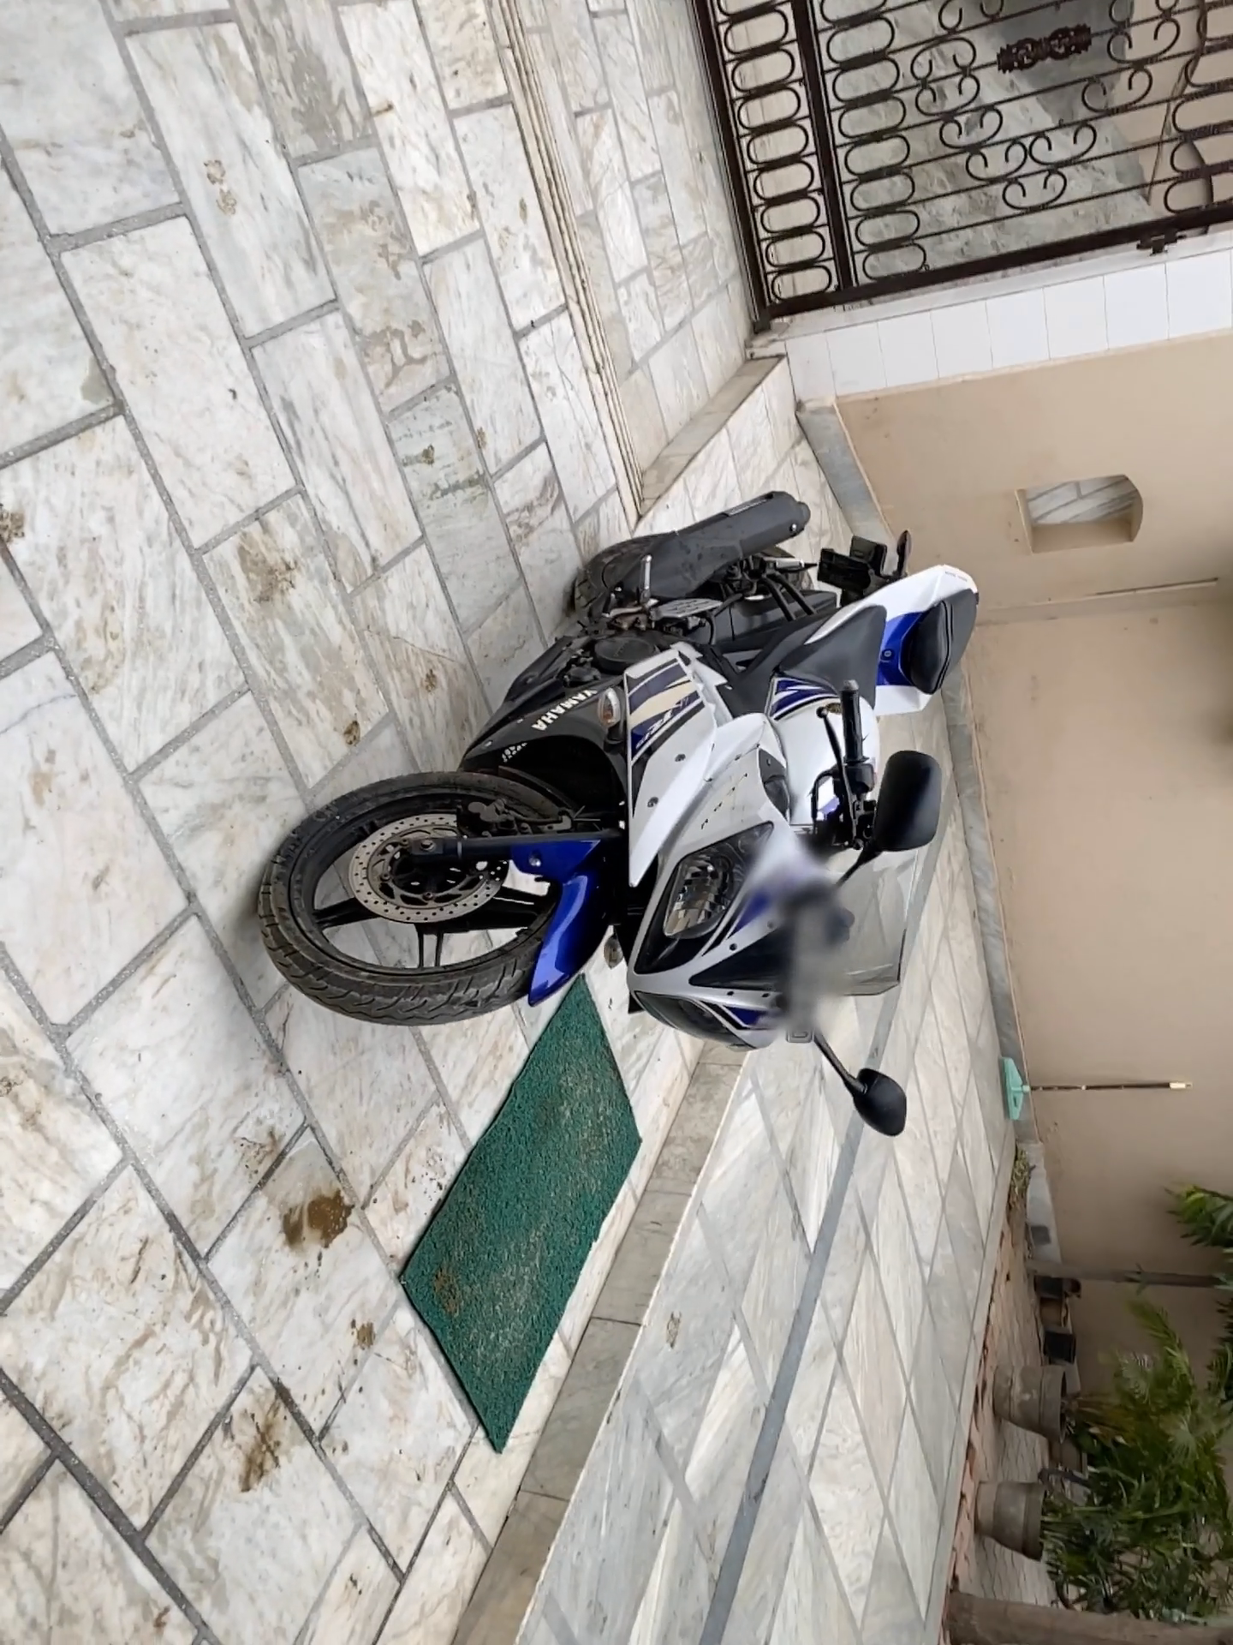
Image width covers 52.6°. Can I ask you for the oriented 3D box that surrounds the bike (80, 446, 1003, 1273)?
[{"bbox_3d":[0.085,-0.086,2.641,1.889,0.902,0.735,-49,132,-47],"label":"bike"}]
